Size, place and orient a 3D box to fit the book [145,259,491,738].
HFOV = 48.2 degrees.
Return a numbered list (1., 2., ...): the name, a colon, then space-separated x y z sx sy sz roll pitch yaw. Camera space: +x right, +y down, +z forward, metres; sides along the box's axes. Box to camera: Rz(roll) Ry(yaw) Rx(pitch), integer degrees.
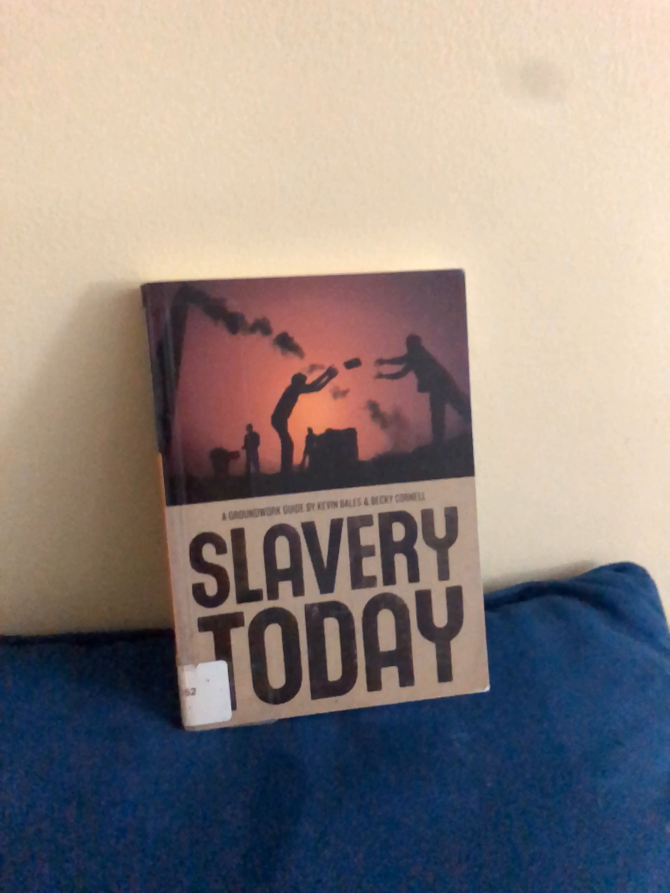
1. book: -0.005 0.019 0.313 0.127 0.182 0.028 -5 4 -9
